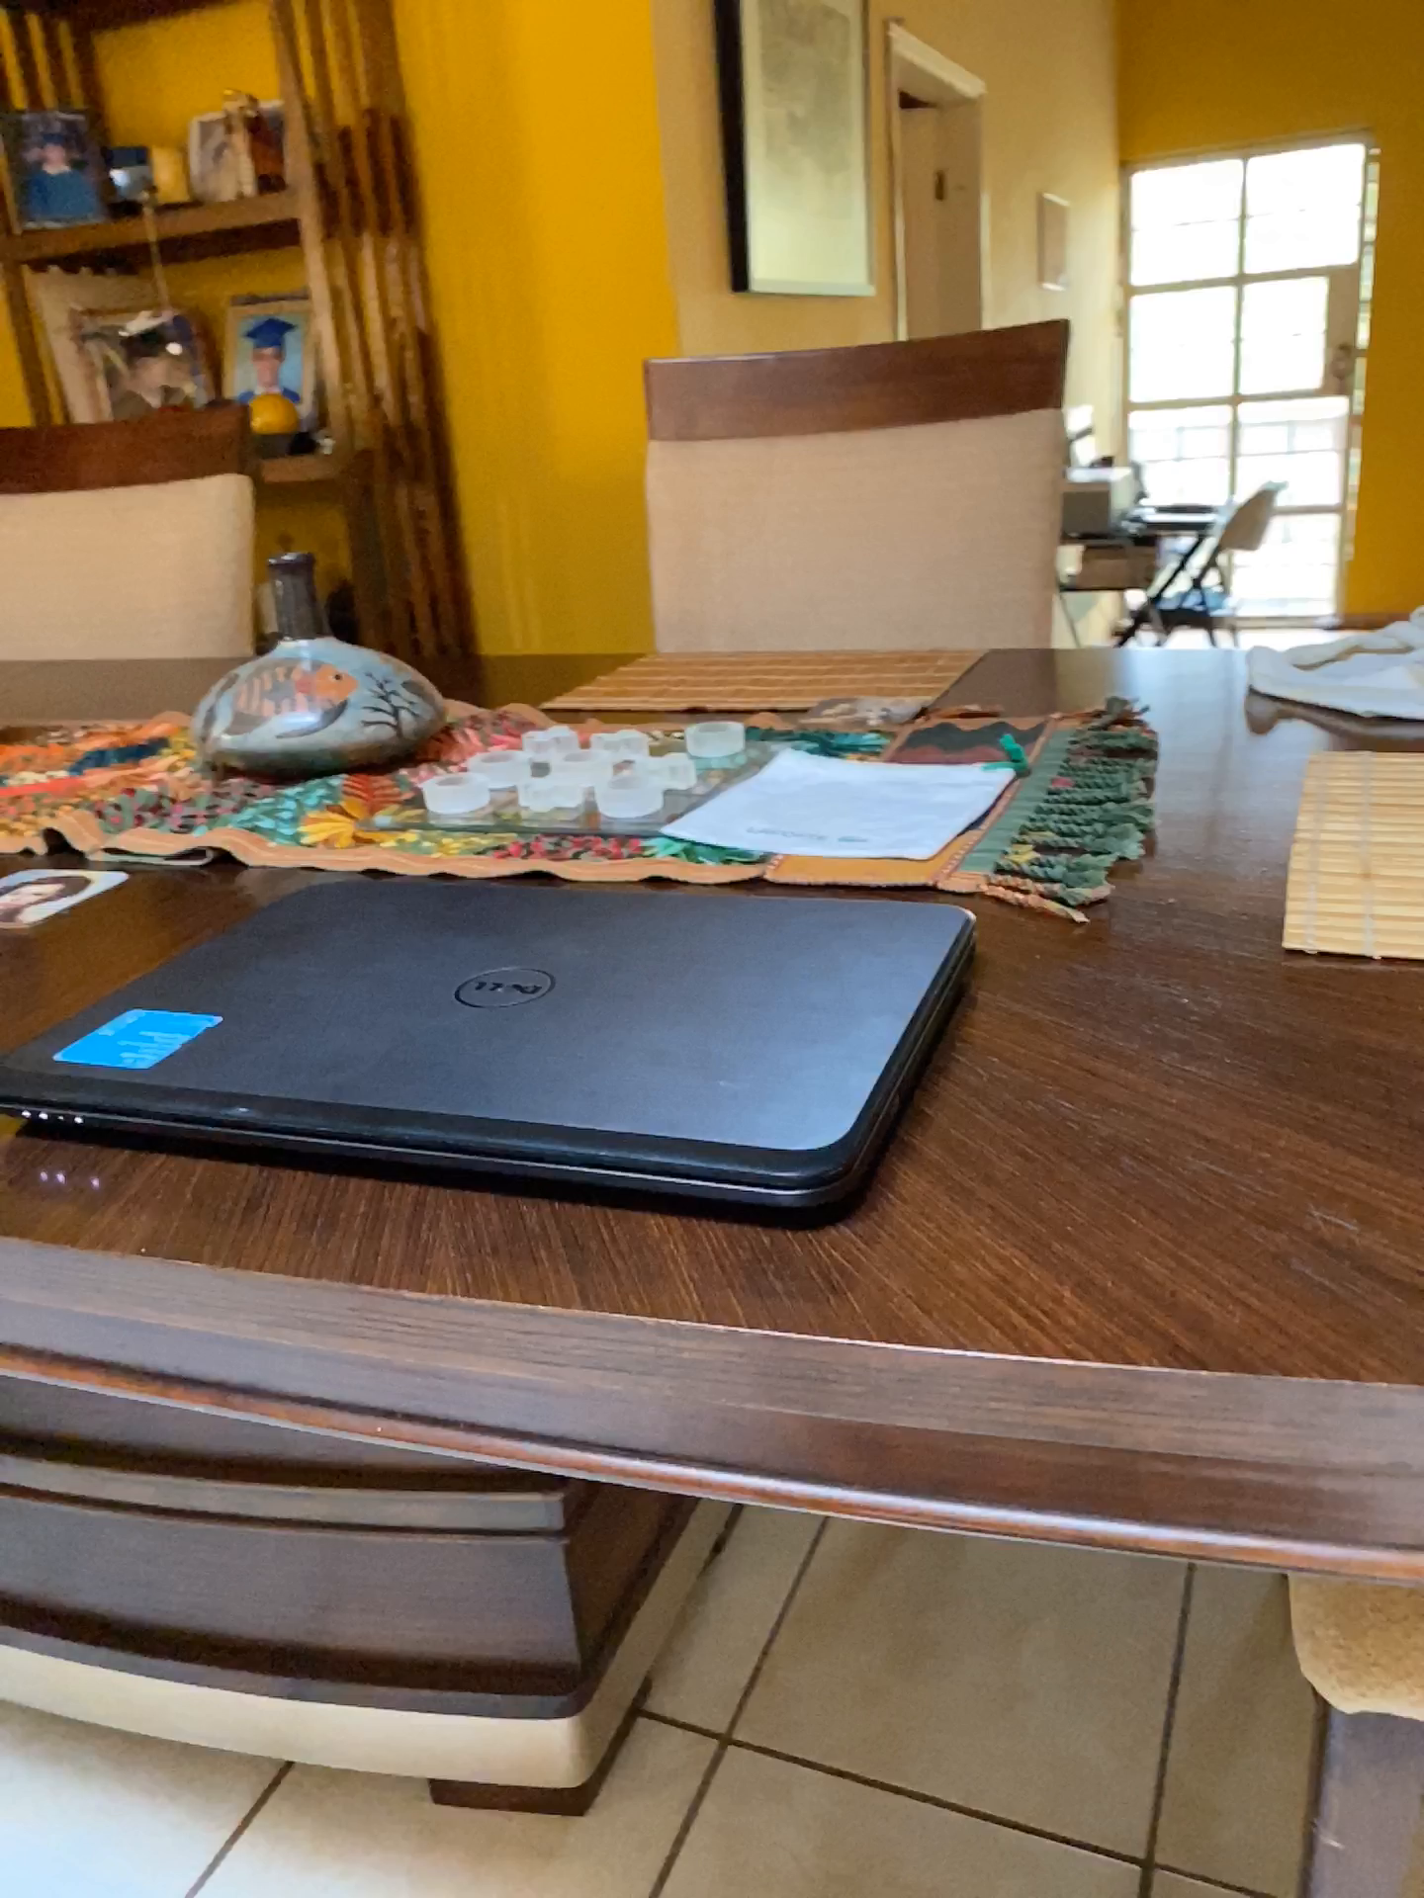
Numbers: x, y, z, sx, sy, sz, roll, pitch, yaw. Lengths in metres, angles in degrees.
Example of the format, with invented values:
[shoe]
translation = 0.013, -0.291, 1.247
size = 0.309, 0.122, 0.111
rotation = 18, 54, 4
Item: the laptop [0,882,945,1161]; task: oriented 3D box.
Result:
[laptop]
translation = -0.096, 0.016, 0.650
size = 0.352, 0.001, 0.249
rotation = 3, 22, 20
